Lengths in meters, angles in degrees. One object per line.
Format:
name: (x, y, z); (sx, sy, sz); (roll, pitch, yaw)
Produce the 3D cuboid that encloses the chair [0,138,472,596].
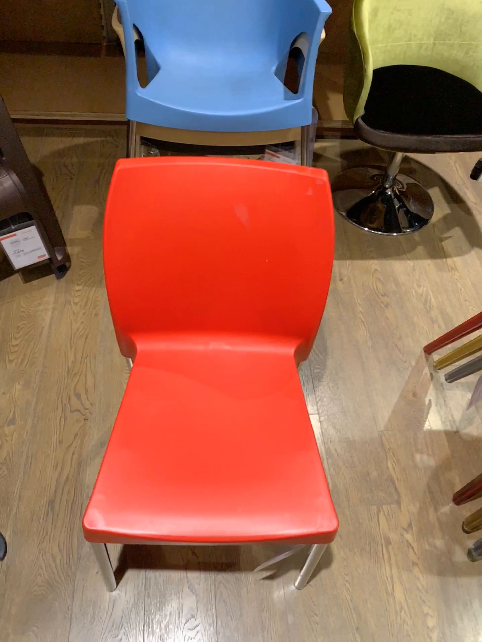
chair: (-0.036, 0.165, 1.021); (0.530, 0.779, 0.621); (2, 54, -3)
